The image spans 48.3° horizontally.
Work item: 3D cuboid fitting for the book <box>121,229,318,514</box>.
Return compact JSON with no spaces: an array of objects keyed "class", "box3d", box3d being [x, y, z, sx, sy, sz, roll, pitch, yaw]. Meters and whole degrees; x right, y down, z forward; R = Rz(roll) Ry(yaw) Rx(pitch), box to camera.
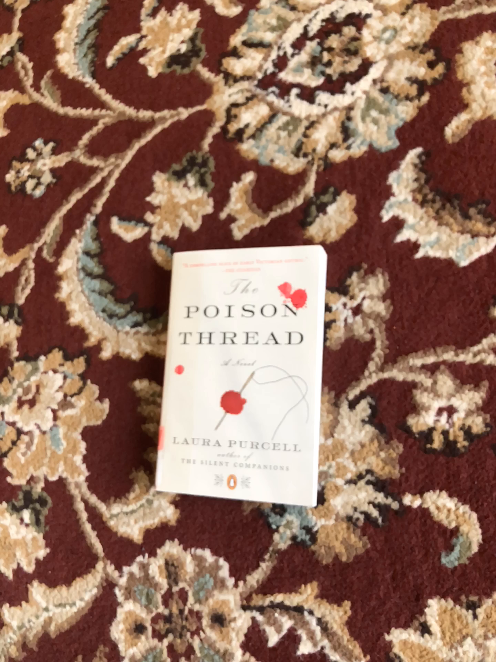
[{"class":"book","box3d":[-0.021,0.028,0.425,0.140,0.030,0.200,0,81,19]}]
